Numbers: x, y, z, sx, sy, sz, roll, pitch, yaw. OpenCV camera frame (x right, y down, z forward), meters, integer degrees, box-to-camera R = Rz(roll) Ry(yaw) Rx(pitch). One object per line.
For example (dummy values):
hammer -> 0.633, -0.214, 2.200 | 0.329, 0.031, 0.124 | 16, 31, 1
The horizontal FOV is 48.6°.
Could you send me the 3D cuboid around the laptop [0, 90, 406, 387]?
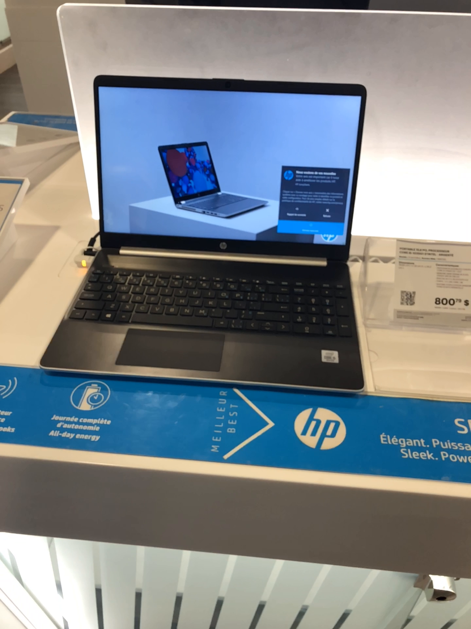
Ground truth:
laptop -> -0.019, -0.110, 0.611 | 0.336, 0.206, 0.317 | 4, 37, 5
